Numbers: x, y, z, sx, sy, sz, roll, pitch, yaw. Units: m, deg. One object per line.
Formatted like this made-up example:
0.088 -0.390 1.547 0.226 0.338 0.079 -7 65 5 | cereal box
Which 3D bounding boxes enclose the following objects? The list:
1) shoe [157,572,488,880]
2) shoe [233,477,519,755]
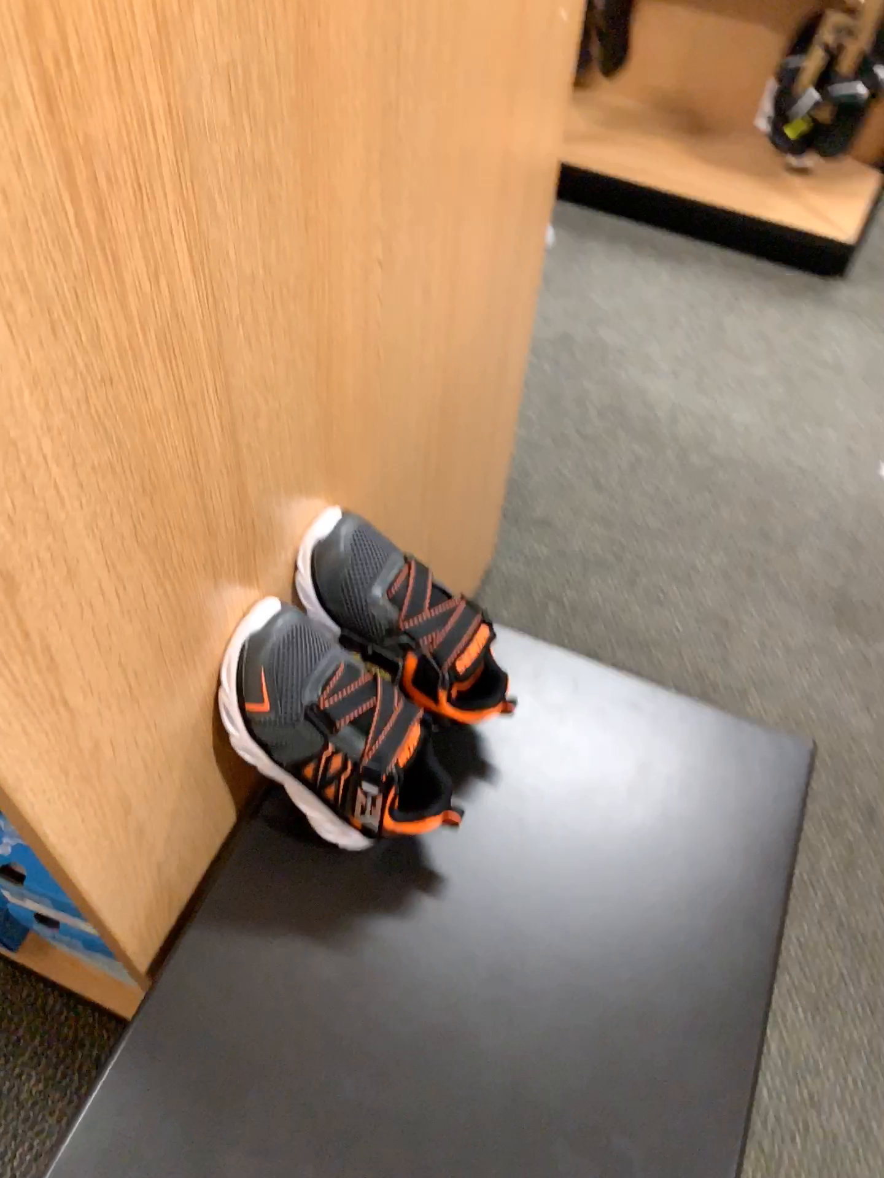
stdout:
-0.068 0.087 0.575 0.100 0.179 0.090 -2 43 39 | shoe
-0.041 0.023 0.651 0.100 0.179 0.090 -2 43 39 | shoe
